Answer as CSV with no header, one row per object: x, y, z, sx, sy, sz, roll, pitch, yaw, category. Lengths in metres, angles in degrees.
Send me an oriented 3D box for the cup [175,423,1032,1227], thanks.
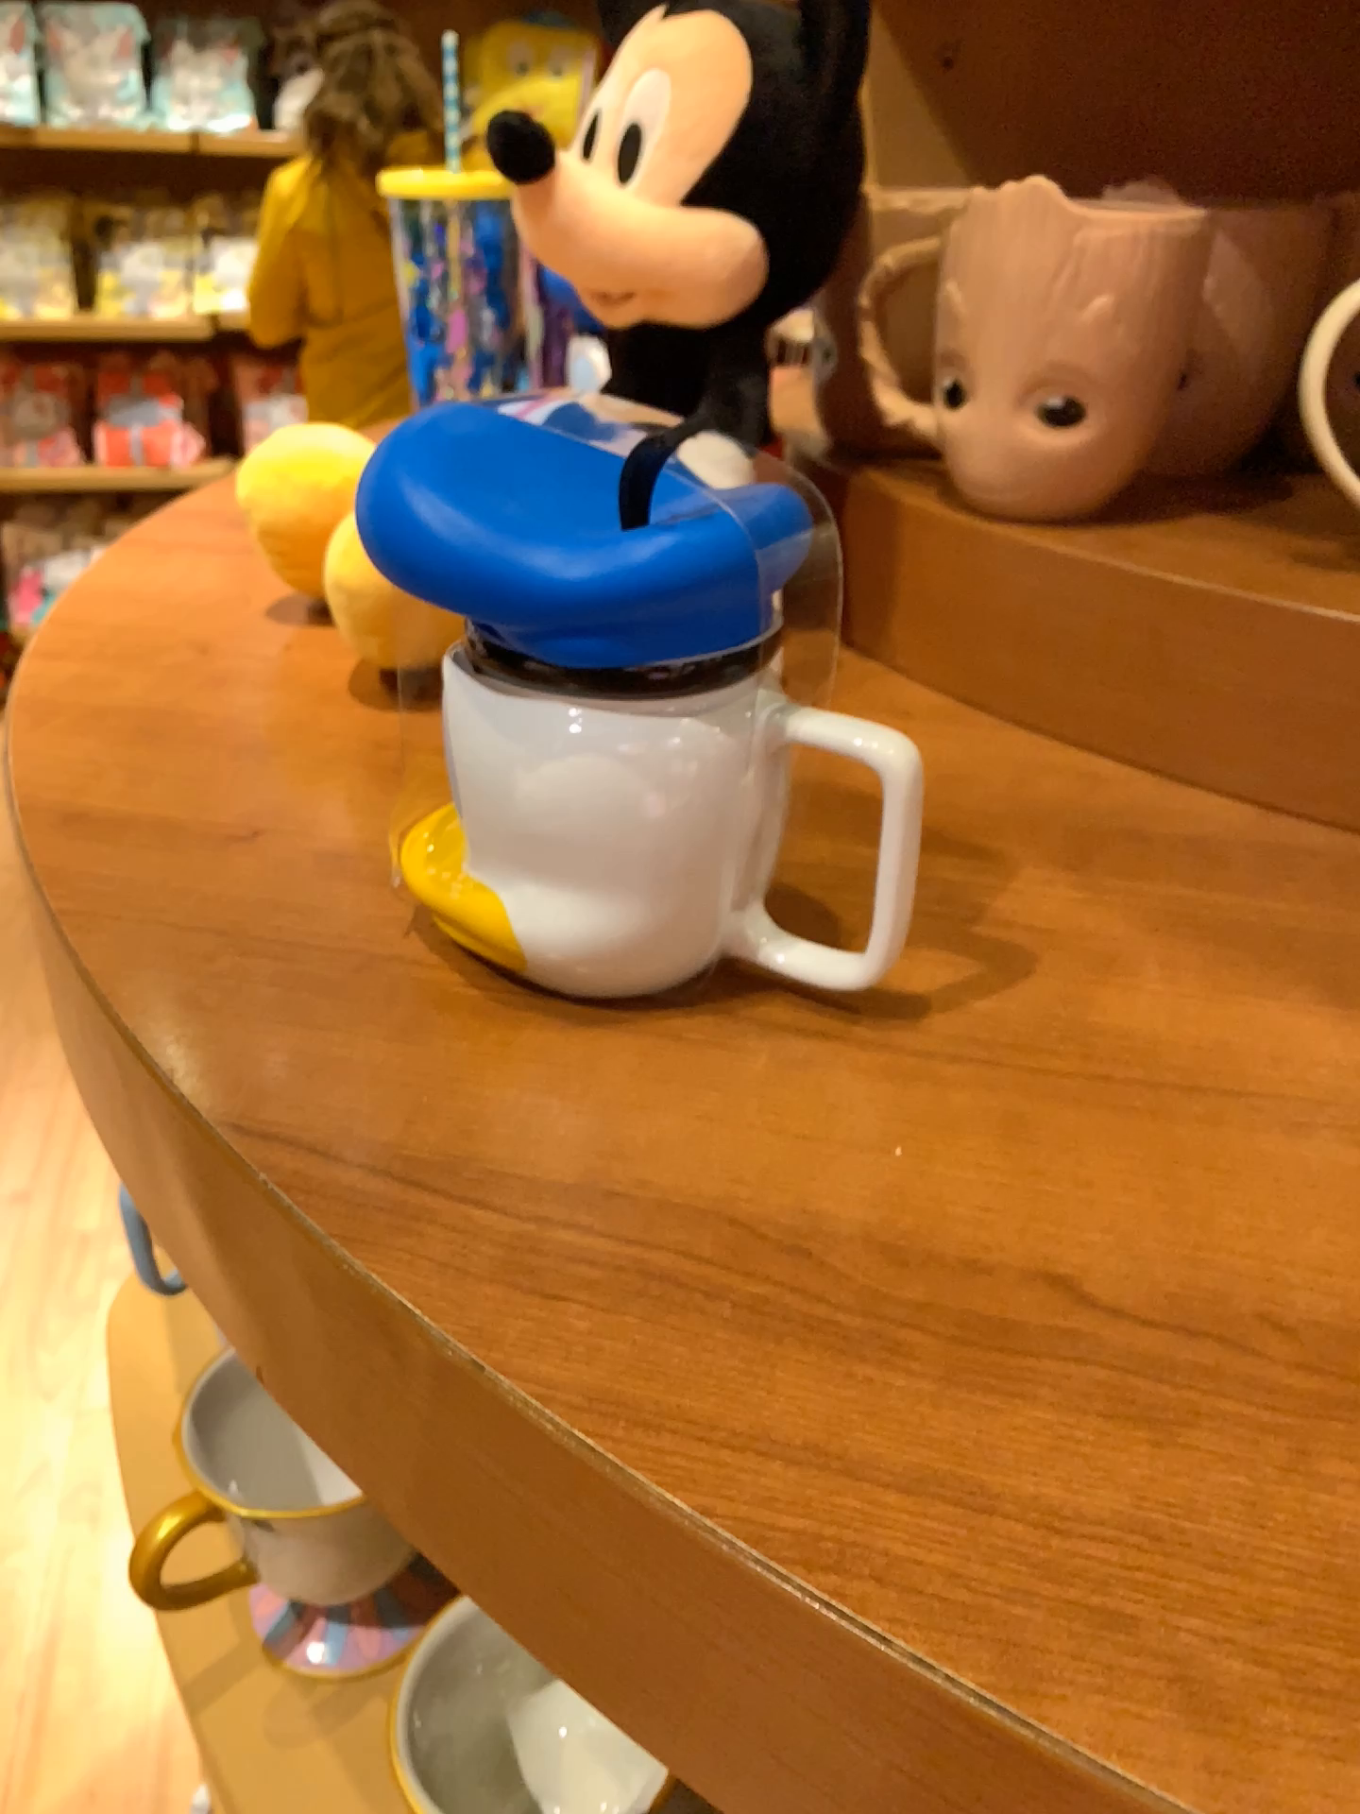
-0.013,-0.033,0.331,0.150,0.132,0.106,14,30,29,cup
